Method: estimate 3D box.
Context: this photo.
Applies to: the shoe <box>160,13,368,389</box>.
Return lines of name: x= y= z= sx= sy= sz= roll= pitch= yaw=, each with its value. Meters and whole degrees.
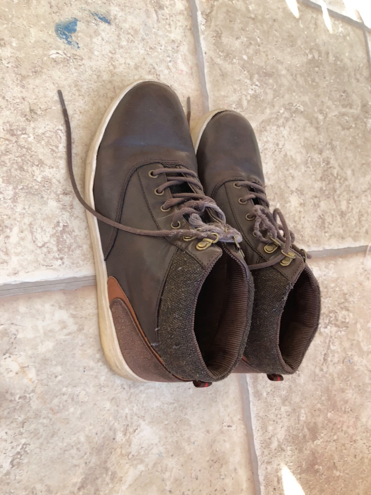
shoe: x=0.066 y=-0.033 z=0.412 sx=0.110 sy=0.149 sz=0.300 roll=3 pitch=80 yaw=-34

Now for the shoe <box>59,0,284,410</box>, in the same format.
shoe: x=-0.025 y=-0.042 z=0.353 sx=0.110 sy=0.149 sz=0.300 roll=1 pitch=81 yaw=-35
